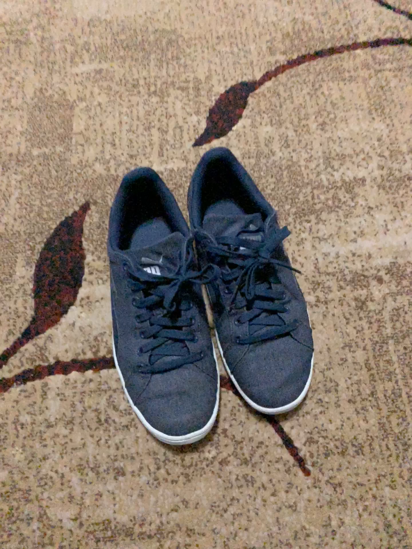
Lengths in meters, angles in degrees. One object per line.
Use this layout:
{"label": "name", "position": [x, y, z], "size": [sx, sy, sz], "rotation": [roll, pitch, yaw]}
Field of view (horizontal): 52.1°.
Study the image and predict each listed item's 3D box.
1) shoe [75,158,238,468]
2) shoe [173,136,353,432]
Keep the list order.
{"label": "shoe", "position": [-0.053, 0.032, 0.426], "size": [0.106, 0.090, 0.275], "rotation": [-11, 70, -4]}
{"label": "shoe", "position": [0.044, 0.000, 0.416], "size": [0.099, 0.051, 0.275], "rotation": [-12, 70, -4]}
